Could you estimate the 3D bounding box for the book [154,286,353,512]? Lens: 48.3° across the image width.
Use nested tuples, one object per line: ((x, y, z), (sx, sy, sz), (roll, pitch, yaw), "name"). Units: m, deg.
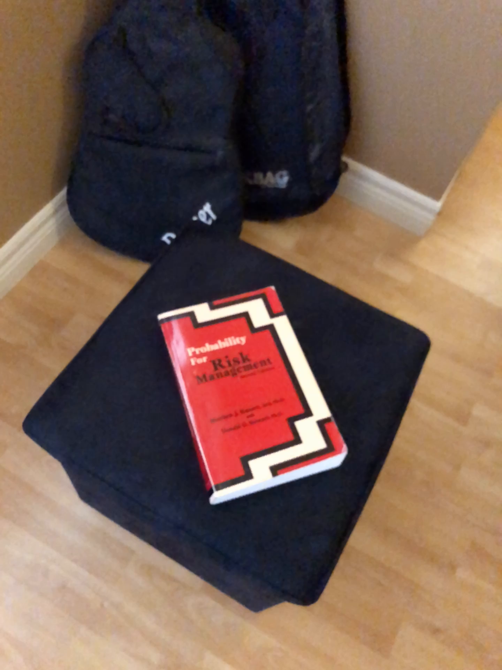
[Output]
((-0.005, 0.061, 0.612), (0.150, 0.042, 0.215), (-14, 63, -15), "book")
